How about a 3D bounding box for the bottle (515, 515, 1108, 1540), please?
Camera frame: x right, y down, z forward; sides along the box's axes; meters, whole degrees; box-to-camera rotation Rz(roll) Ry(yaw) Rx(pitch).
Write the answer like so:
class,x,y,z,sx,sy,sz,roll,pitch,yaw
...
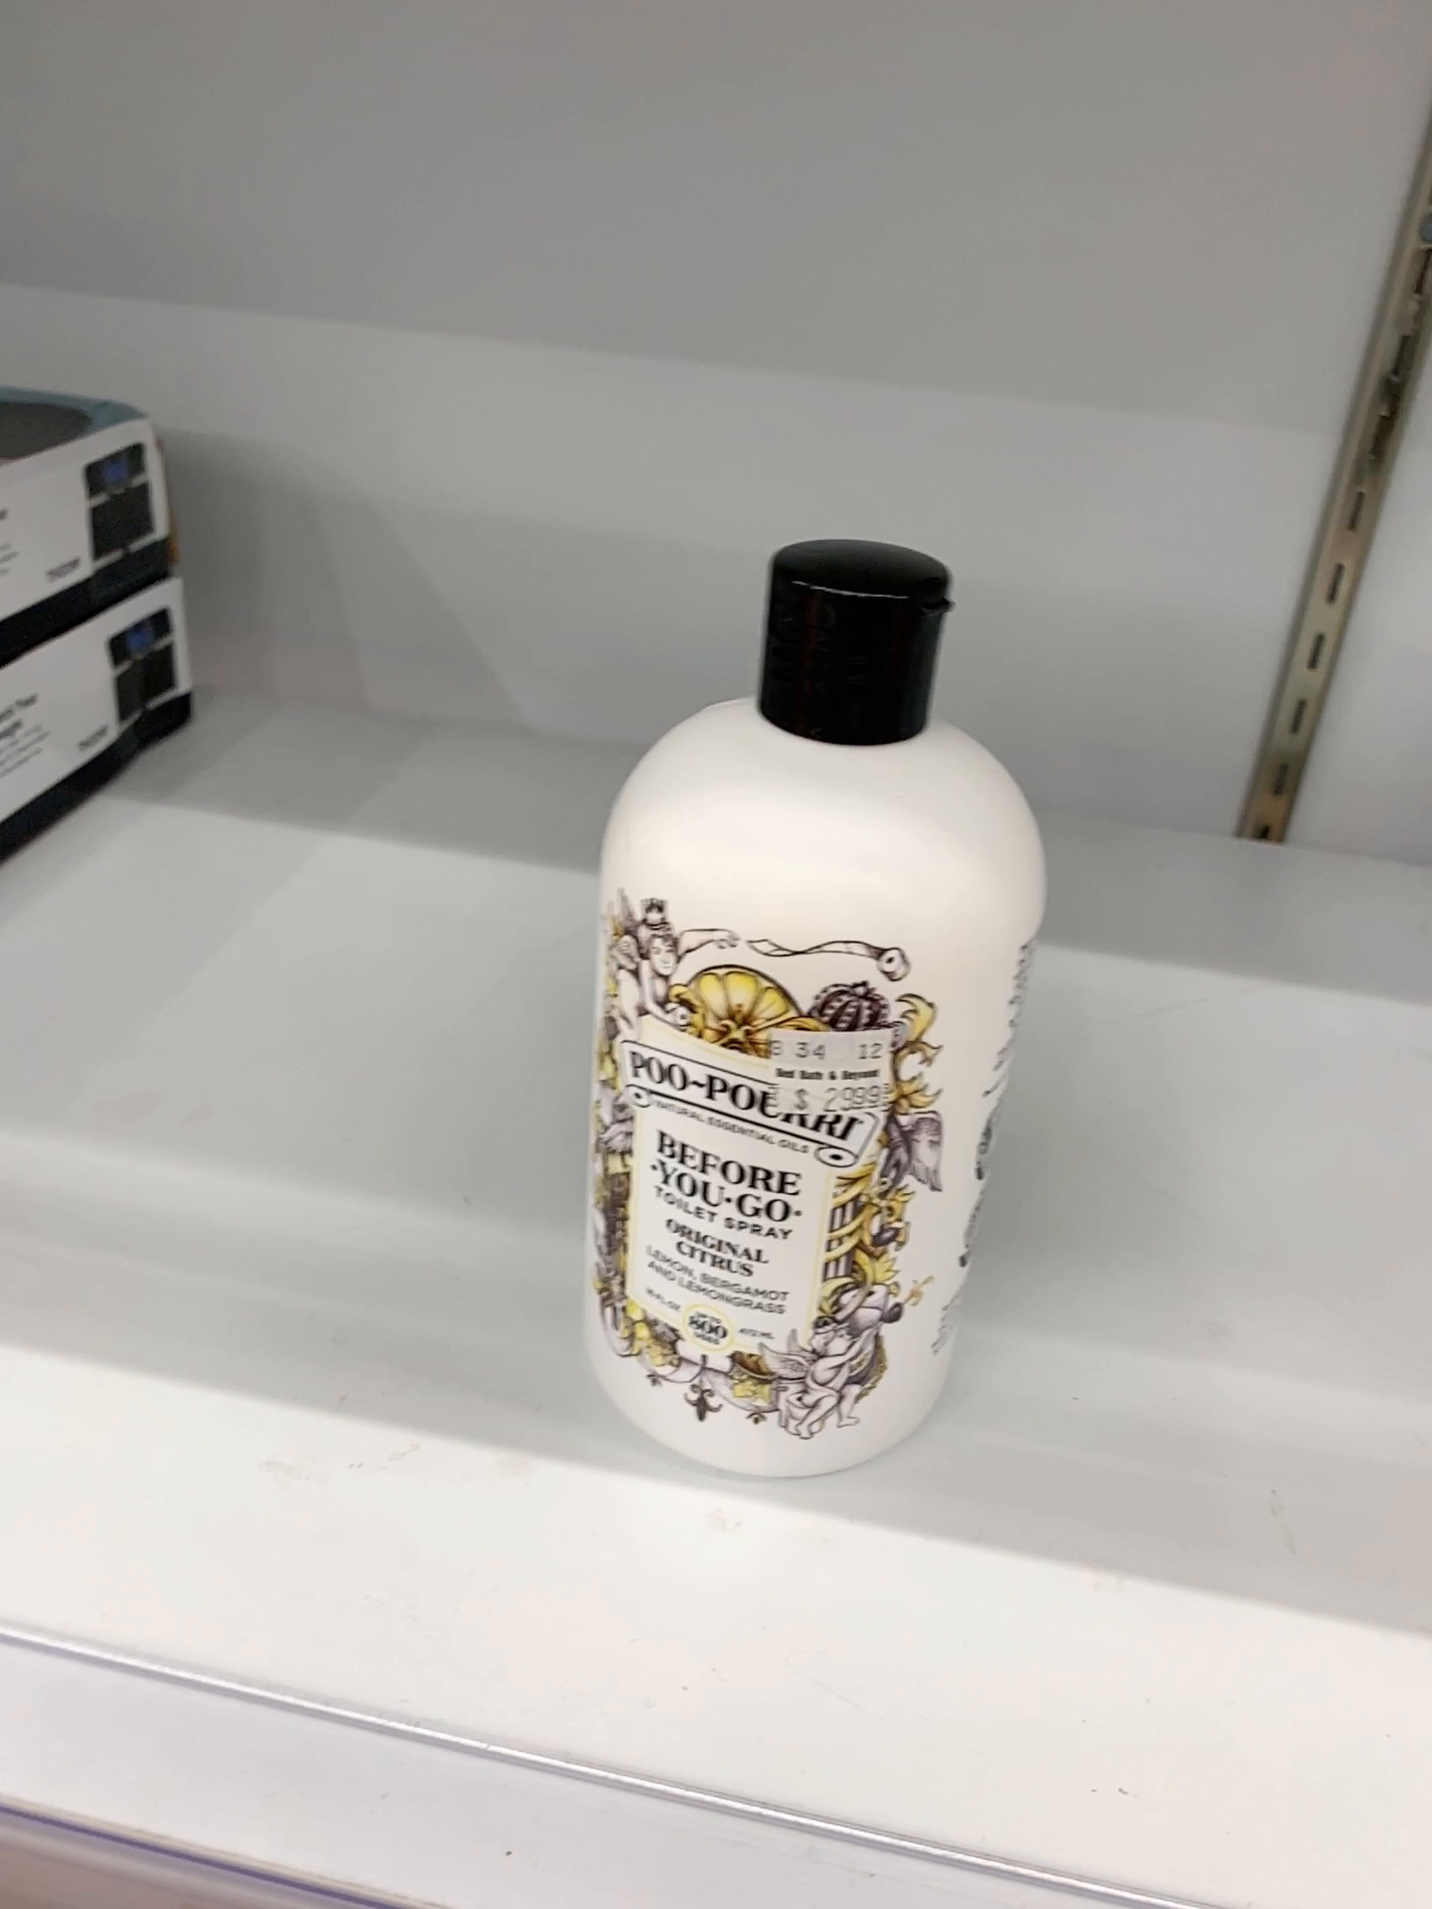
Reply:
class,x,y,z,sx,sy,sz,roll,pitch,yaw
bottle,0.014,0.013,0.261,0.073,0.153,0.070,4,30,-2
